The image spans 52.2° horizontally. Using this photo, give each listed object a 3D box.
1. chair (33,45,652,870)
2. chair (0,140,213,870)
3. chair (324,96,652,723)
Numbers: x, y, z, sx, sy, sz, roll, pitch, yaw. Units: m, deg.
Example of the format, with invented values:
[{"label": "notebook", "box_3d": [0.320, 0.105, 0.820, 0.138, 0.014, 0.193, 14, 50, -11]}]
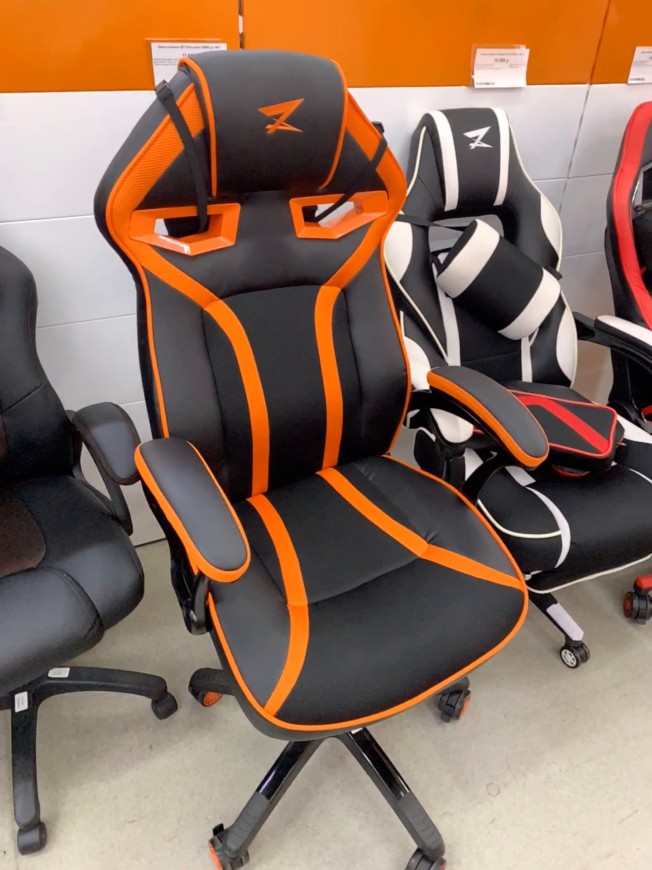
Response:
[{"label": "chair", "box_3d": [0.058, 0.125, 1.136, 0.721, 1.313, 0.733, -13, 37, -21]}, {"label": "chair", "box_3d": [-0.799, 0.201, 1.370, 0.821, 1.323, 0.723, -17, 38, -26]}, {"label": "chair", "box_3d": [0.584, -0.132, 1.713, 0.852, 1.193, 0.823, -17, 38, -26]}]
